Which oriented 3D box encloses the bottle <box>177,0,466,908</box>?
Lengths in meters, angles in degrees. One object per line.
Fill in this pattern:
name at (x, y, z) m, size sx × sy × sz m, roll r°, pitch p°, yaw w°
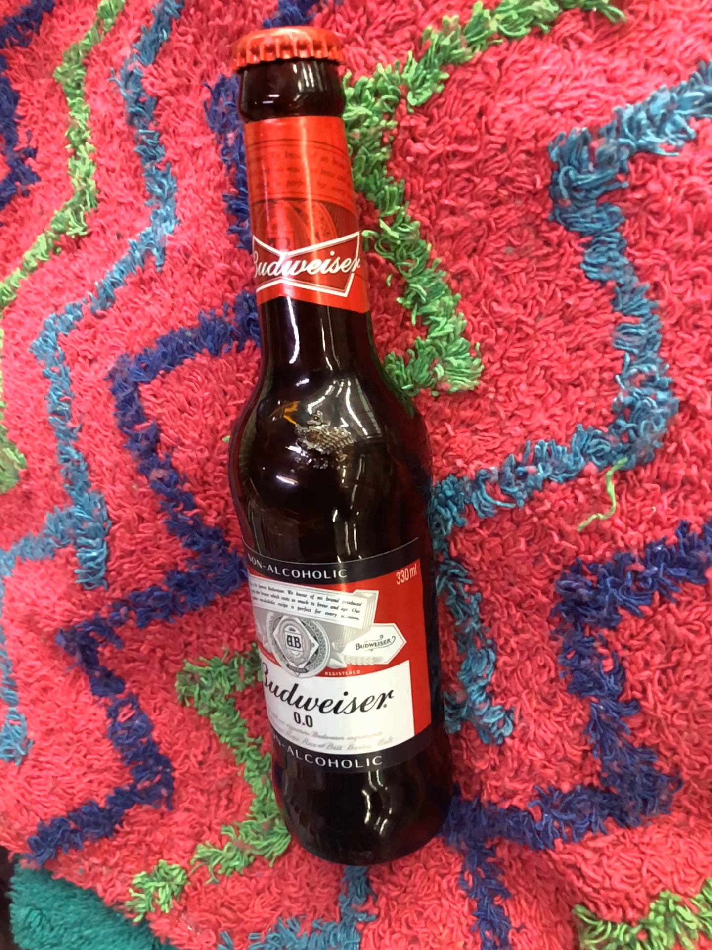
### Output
bottle at (-0.004, -0.002, 0.241) m, size 0.060 × 0.050 × 0.250 m, roll 6°, pitch 105°, yaw 29°
